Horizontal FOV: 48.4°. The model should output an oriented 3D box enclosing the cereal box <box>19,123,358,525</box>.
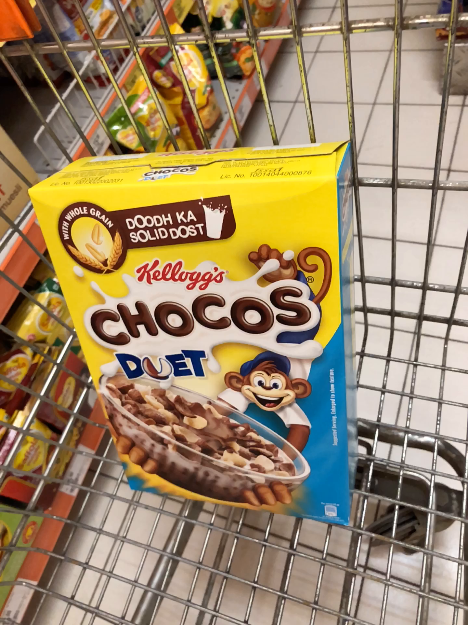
[{"bbox_3d":[-0.010,0.018,0.361,0.180,0.259,0.070,3,32,18],"label":"cereal box"}]
